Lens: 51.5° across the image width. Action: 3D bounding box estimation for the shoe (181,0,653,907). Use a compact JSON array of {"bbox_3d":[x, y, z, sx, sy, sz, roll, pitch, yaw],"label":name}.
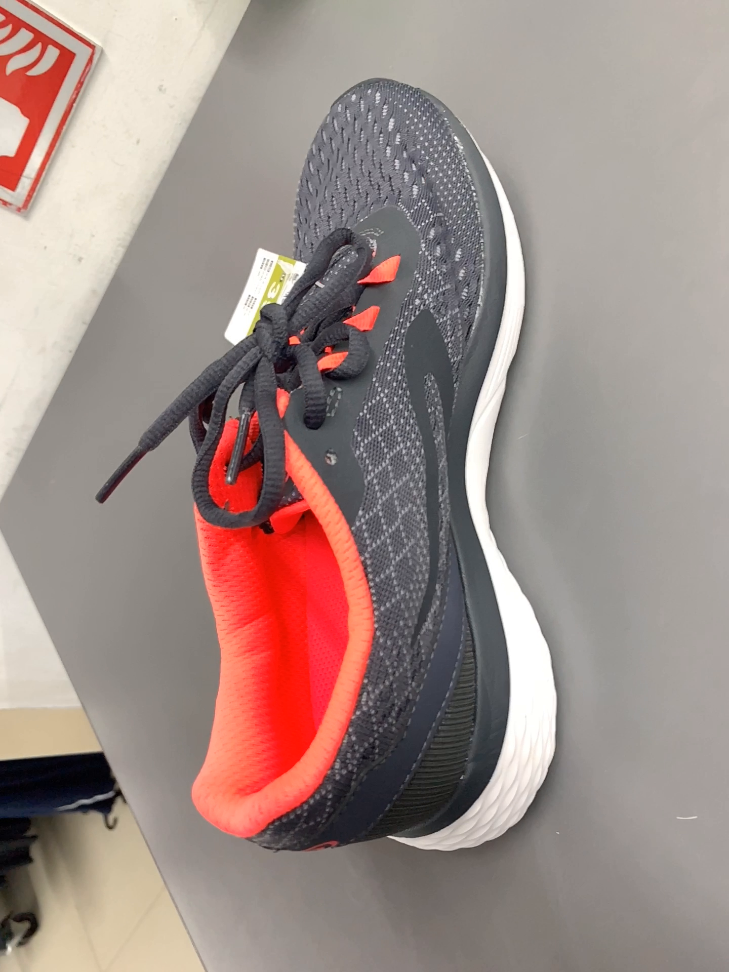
[{"bbox_3d":[0.015,-0.015,0.280,0.111,0.109,0.270,-13,71,38],"label":"shoe"}]
